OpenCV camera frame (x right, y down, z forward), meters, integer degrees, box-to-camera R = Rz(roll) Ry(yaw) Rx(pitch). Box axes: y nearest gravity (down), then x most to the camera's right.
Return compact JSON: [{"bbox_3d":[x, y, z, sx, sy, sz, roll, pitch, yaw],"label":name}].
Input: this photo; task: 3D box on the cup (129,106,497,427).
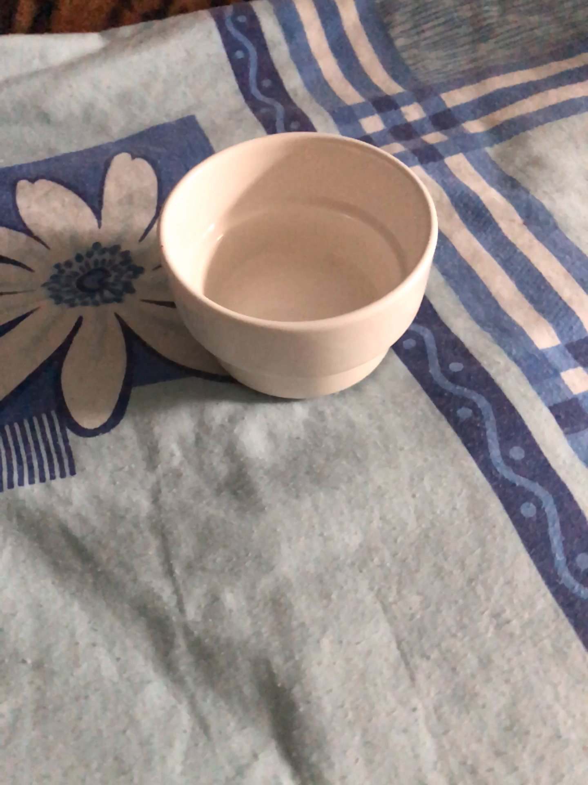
[{"bbox_3d":[0.001,-0.041,0.208,0.091,0.047,0.077,-9,59,-7],"label":"cup"}]
